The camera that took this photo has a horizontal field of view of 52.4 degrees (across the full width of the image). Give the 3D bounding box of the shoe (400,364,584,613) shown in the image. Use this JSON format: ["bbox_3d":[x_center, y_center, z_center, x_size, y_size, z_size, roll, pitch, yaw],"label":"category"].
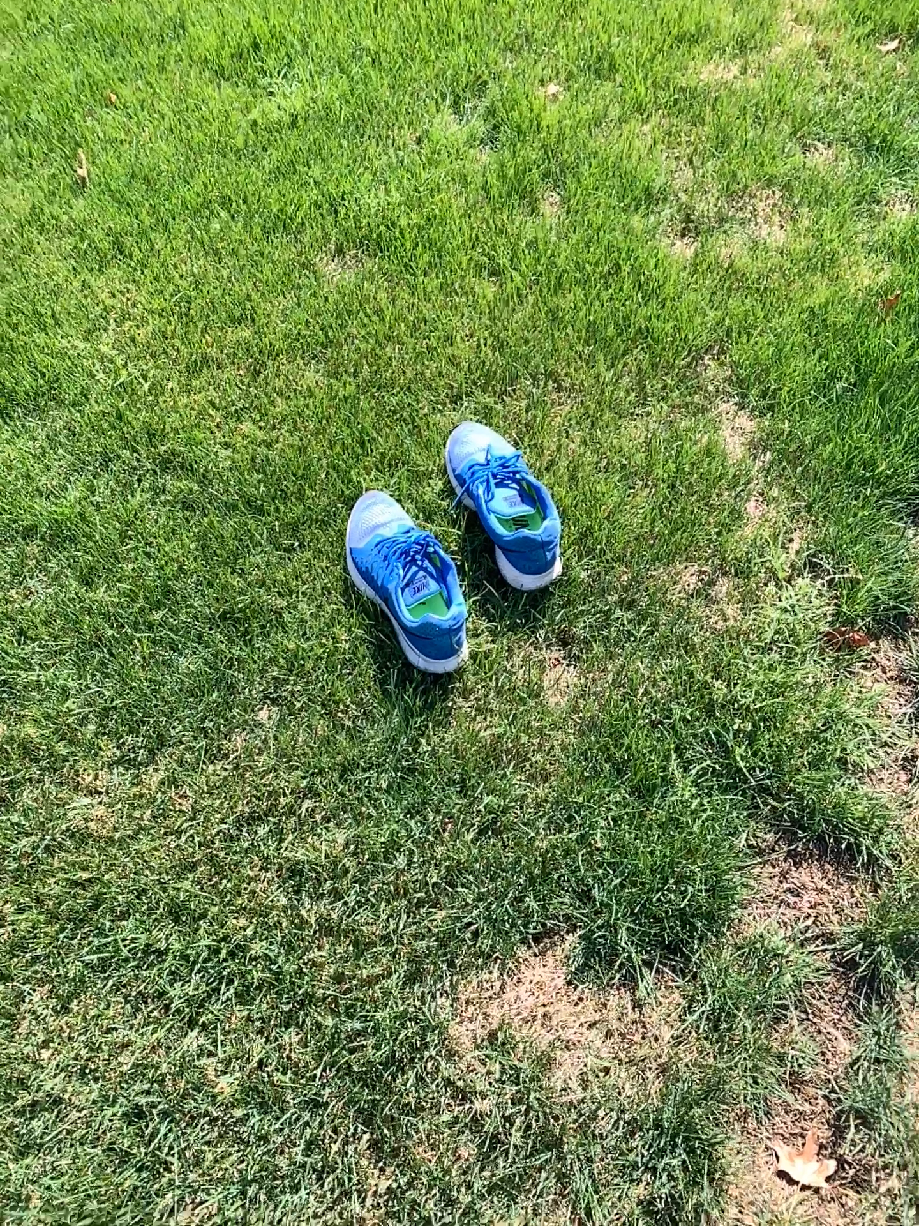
[{"bbox_3d":[0.039,-0.172,1.274,0.130,0.140,0.291,-22,61,-9],"label":"shoe"}]

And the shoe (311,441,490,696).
[{"bbox_3d":[-0.077,-0.061,1.208,0.120,0.120,0.291,-22,61,-9],"label":"shoe"}]
